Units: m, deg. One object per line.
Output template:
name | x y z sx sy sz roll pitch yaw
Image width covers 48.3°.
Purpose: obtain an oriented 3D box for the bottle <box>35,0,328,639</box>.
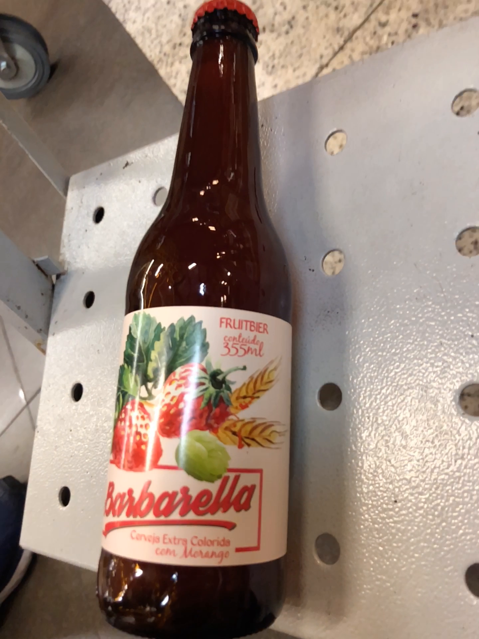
bottle | -0.014 -0.020 0.197 0.070 0.060 0.240 -8 73 36
